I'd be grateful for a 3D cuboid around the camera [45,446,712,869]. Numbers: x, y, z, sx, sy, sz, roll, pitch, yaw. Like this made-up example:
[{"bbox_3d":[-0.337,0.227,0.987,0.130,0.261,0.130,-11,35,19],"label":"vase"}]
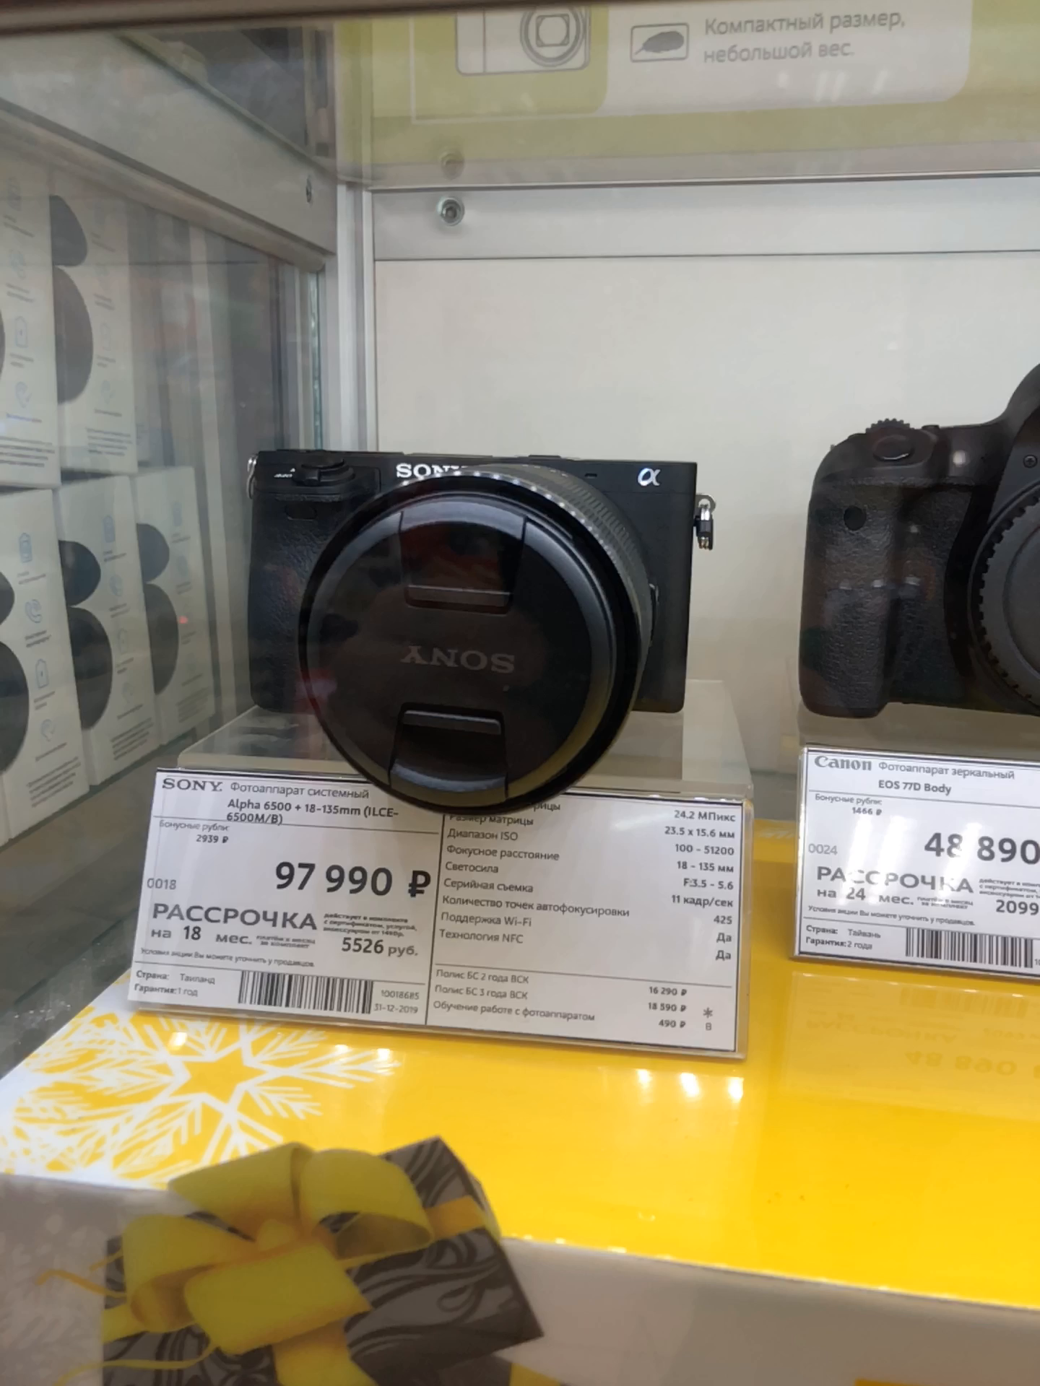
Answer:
[{"bbox_3d":[-0.022,-0.021,0.293,0.130,0.080,0.123,3,13,12],"label":"camera"}]
